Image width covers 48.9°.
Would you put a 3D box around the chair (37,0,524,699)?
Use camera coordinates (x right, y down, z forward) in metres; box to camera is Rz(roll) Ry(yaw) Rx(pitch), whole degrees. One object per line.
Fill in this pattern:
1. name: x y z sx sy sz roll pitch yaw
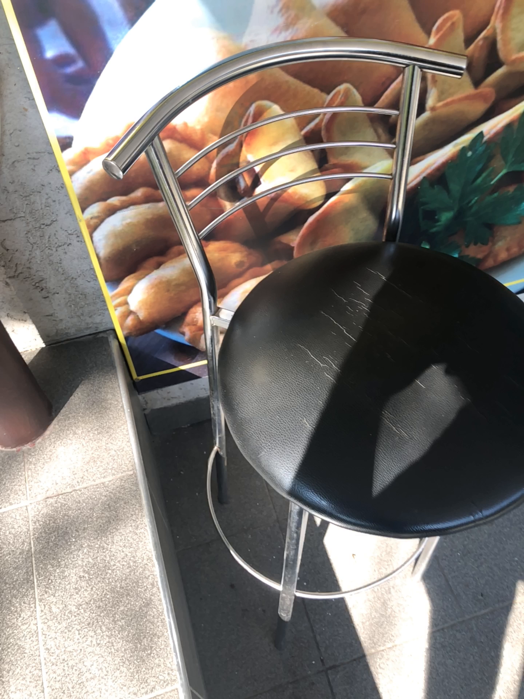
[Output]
1. chair: 0.114 0.119 0.849 0.480 0.938 0.481 -22 58 -15
